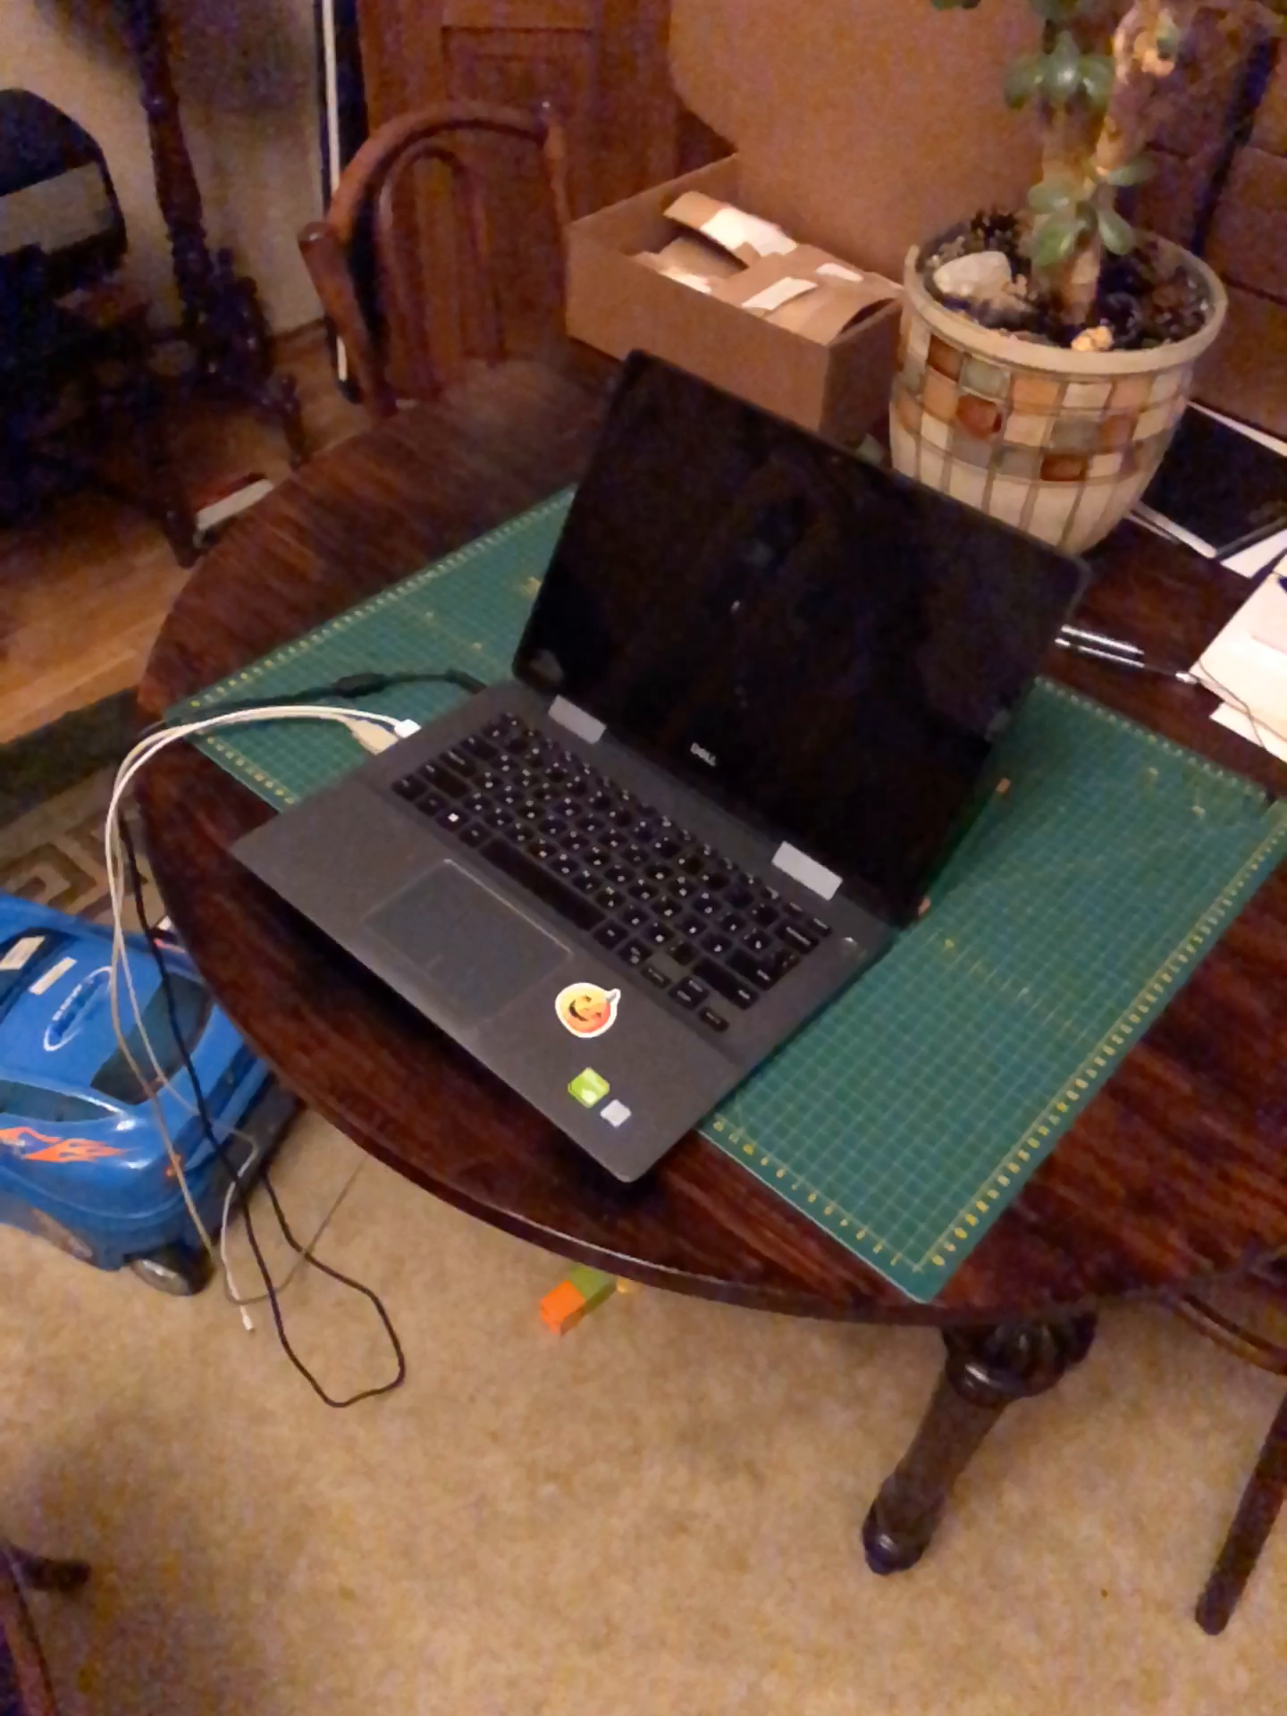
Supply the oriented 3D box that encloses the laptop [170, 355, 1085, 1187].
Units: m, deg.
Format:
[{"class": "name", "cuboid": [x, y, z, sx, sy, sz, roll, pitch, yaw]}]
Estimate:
[{"class": "laptop", "cuboid": [-0.006, -0.075, 0.786, 0.321, 0.192, 0.338, 35, 54, 27]}]
